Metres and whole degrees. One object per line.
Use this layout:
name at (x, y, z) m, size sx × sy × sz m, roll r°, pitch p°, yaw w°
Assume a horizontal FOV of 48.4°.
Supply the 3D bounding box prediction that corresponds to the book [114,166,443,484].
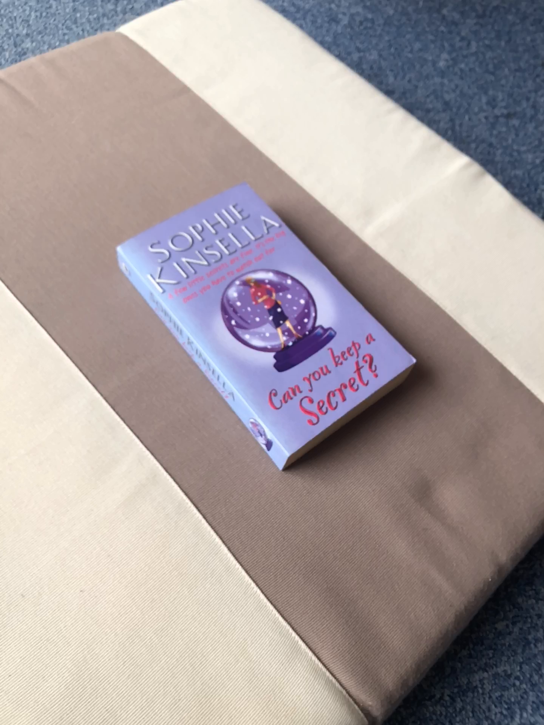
book at (0.000, -0.032, 0.379) m, size 0.110 × 0.040 × 0.180 m, roll -33°, pitch 71°, yaw -24°
